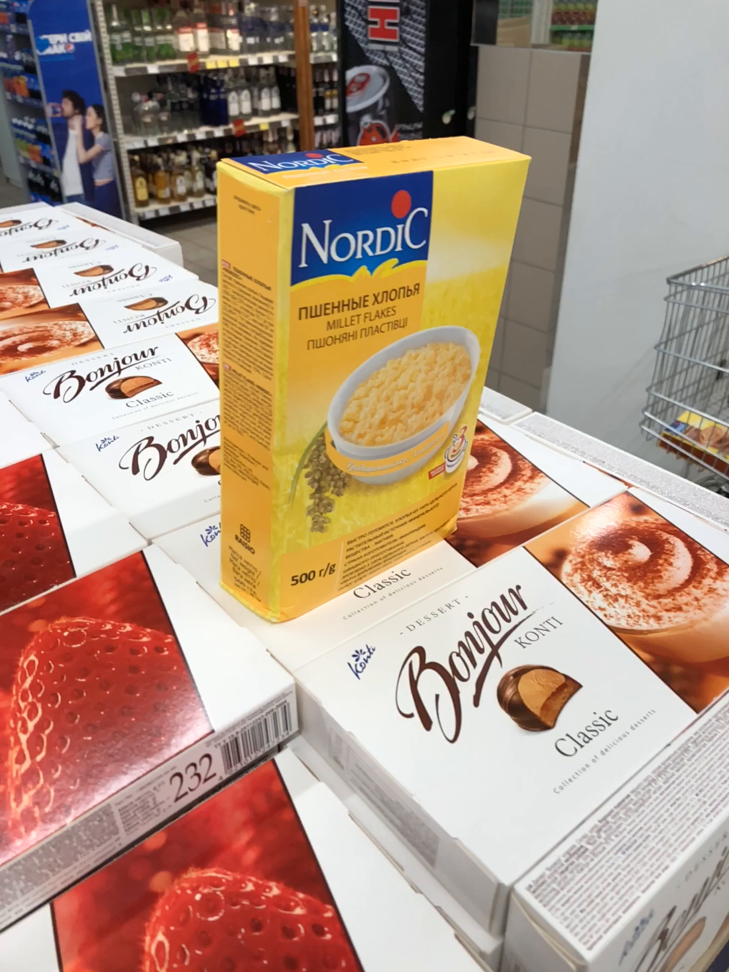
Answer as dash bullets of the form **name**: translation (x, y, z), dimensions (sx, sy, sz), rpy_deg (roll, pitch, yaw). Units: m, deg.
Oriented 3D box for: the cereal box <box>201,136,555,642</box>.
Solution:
- **cereal box**: translation (0.001, -0.049, 0.402), dimensions (0.161, 0.218, 0.050), rpy_deg (-23, 44, -37)
